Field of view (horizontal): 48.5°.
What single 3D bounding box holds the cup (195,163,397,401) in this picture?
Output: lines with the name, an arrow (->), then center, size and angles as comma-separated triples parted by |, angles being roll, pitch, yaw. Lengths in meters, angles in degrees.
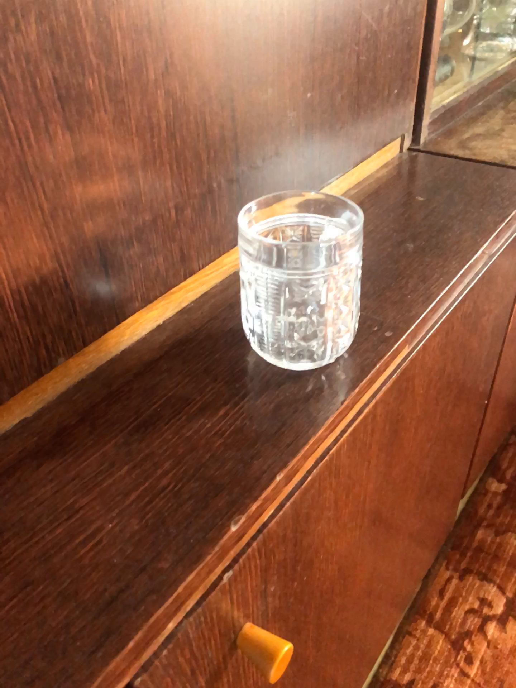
cup -> 0.025, -0.039, 0.314 | 0.070, 0.080, 0.100 | 14, 40, 21
